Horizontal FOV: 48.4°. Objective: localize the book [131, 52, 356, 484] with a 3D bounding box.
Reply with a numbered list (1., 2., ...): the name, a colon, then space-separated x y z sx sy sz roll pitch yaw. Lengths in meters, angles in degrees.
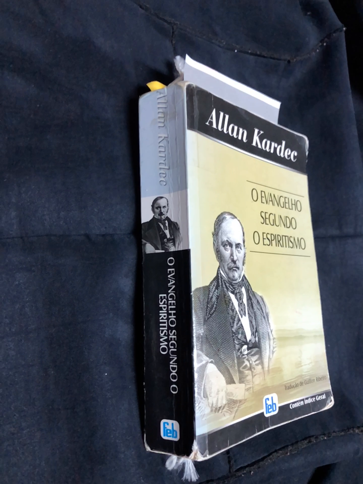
1. book: 0.046 0.012 0.273 0.151 0.050 0.220 5 79 -41
